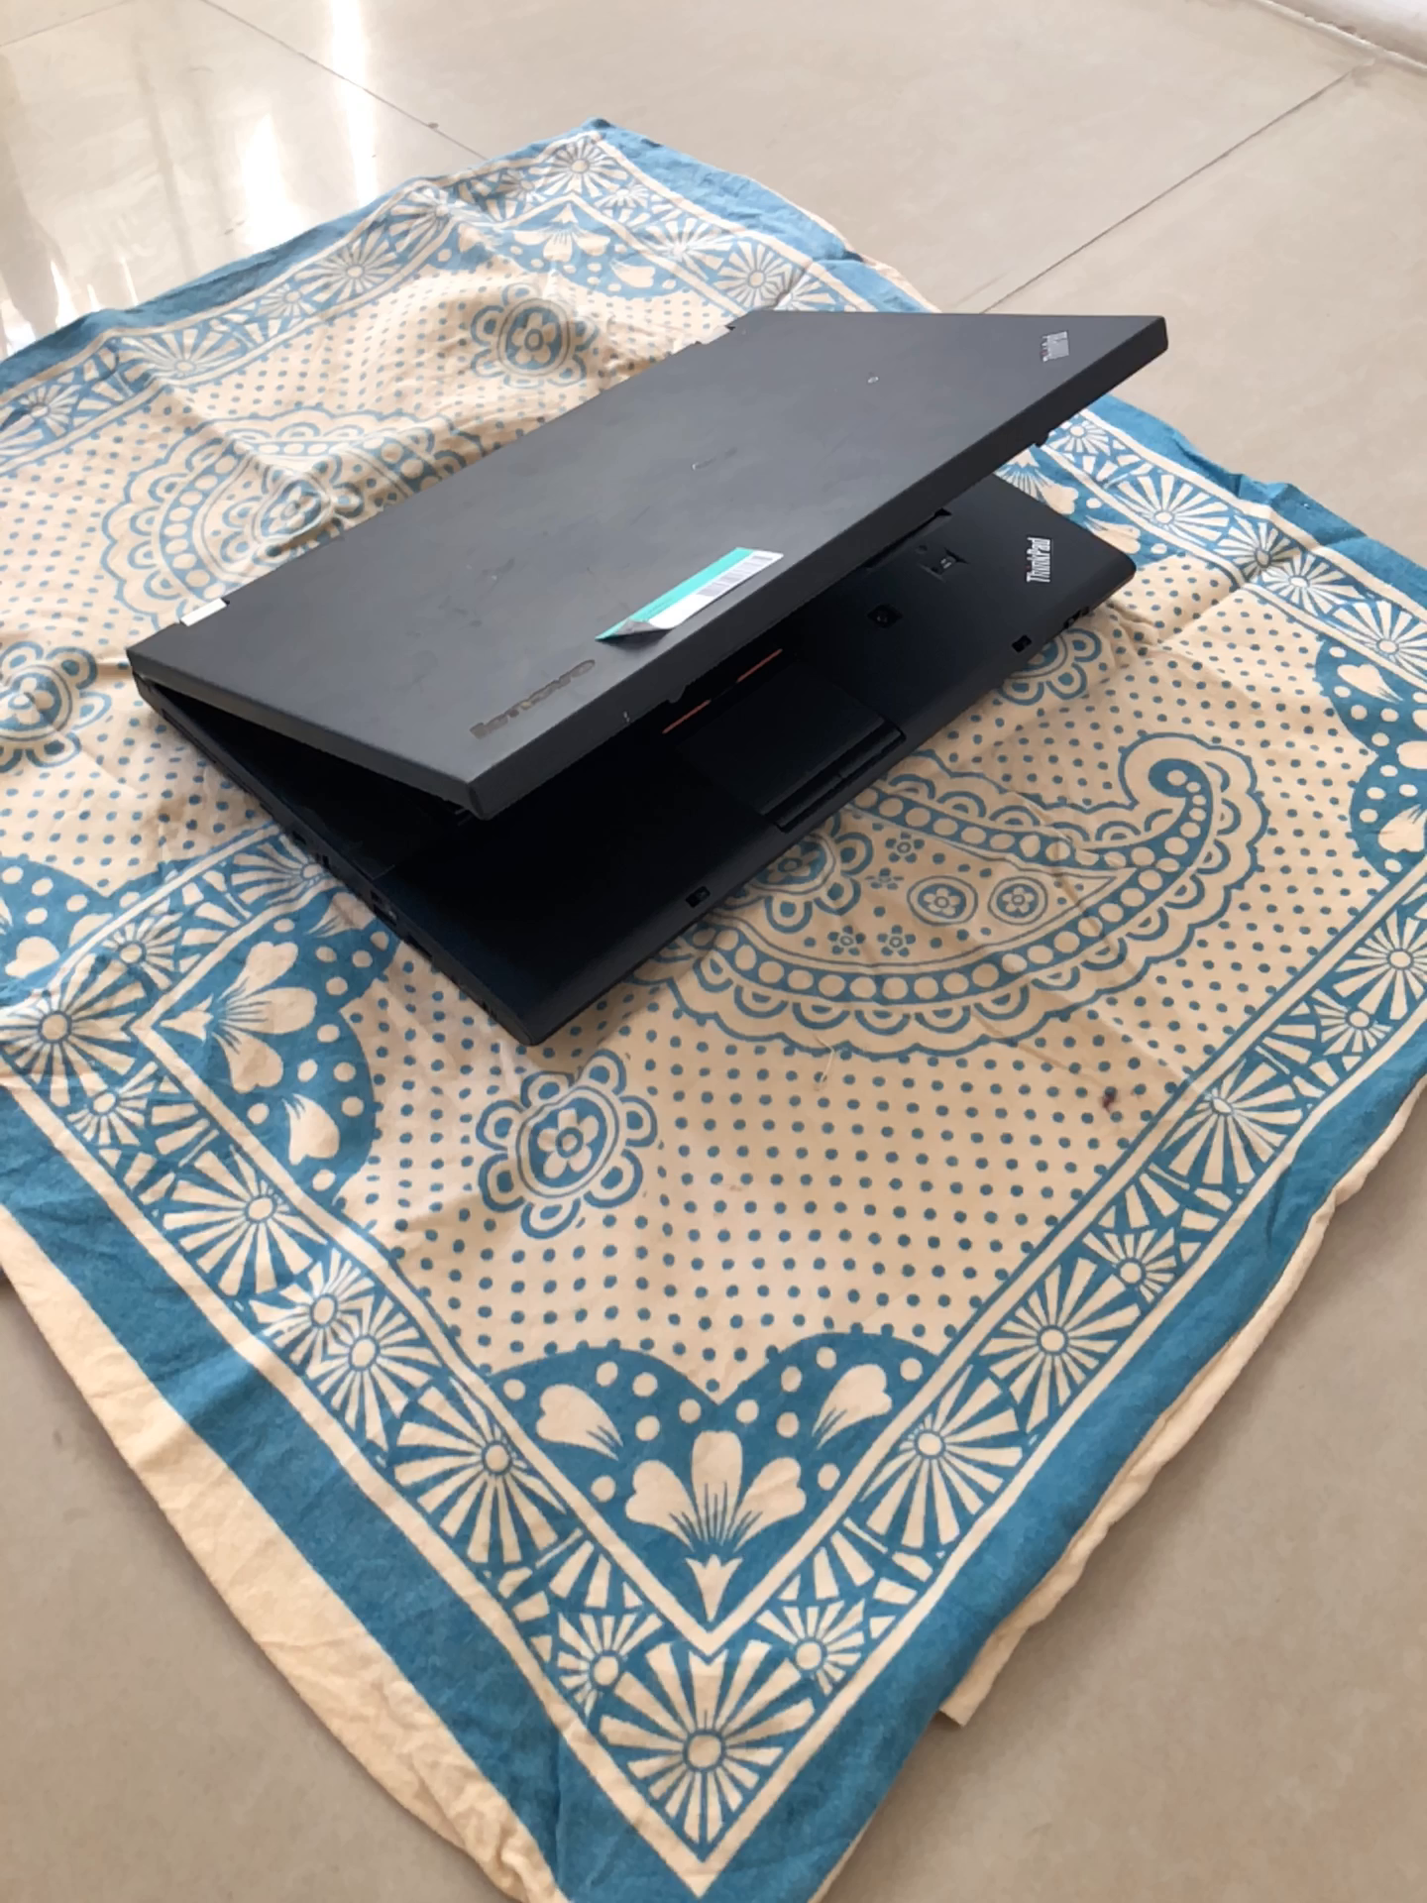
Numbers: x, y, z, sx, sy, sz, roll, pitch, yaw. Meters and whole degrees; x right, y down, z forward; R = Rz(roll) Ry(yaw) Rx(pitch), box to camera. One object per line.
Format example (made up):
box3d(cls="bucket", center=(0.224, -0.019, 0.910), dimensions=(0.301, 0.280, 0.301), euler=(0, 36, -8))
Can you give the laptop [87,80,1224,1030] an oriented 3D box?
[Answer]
box3d(cls="laptop", center=(-0.021, -0.179, 0.632), dimensions=(0.349, 0.124, 0.240), euler=(-39, 63, -22))
